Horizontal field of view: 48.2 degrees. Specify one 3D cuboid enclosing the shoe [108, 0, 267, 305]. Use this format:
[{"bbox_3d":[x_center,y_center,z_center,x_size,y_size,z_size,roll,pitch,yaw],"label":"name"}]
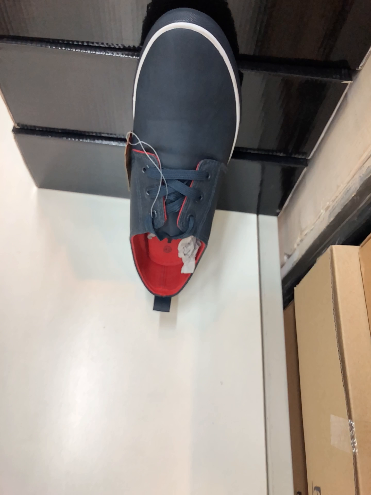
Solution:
[{"bbox_3d":[-0.003,-0.082,0.389,0.103,0.268,0.101,9,39,3],"label":"shoe"}]
